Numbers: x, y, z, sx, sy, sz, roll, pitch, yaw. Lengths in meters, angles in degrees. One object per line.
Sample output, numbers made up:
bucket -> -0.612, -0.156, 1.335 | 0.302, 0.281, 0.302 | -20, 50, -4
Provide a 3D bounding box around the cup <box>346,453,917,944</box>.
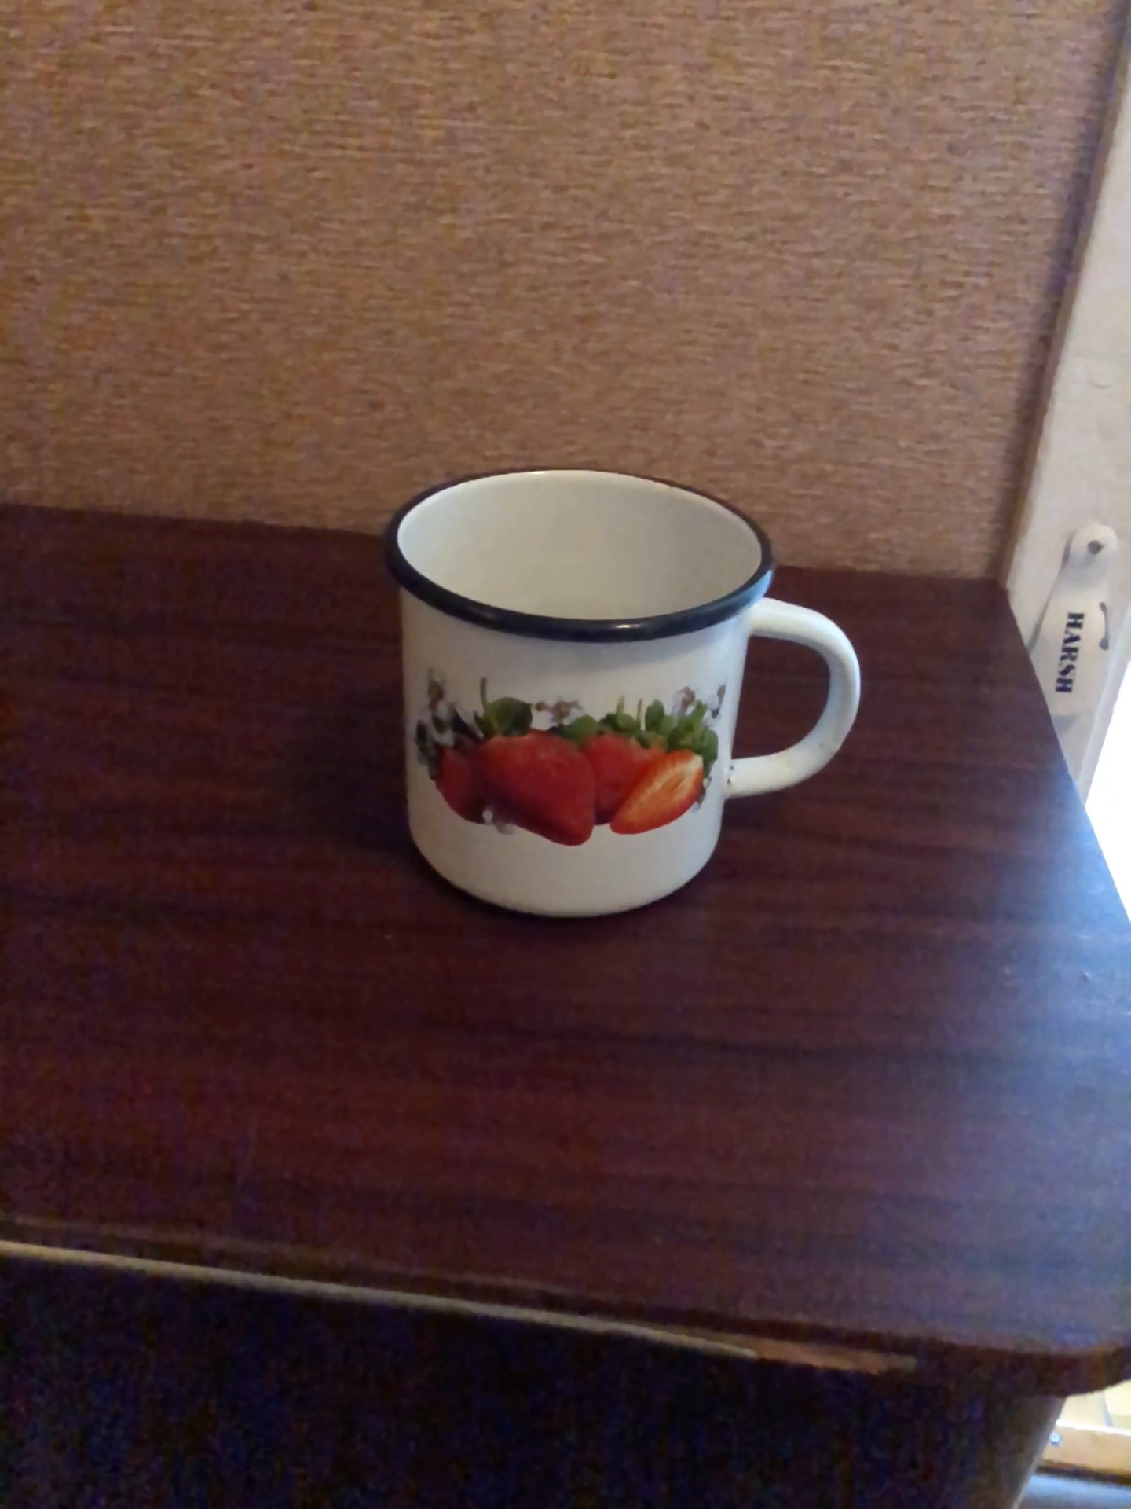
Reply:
cup -> 0.019, -0.023, 0.418 | 0.155, 0.113, 0.119 | 3, 31, 1
